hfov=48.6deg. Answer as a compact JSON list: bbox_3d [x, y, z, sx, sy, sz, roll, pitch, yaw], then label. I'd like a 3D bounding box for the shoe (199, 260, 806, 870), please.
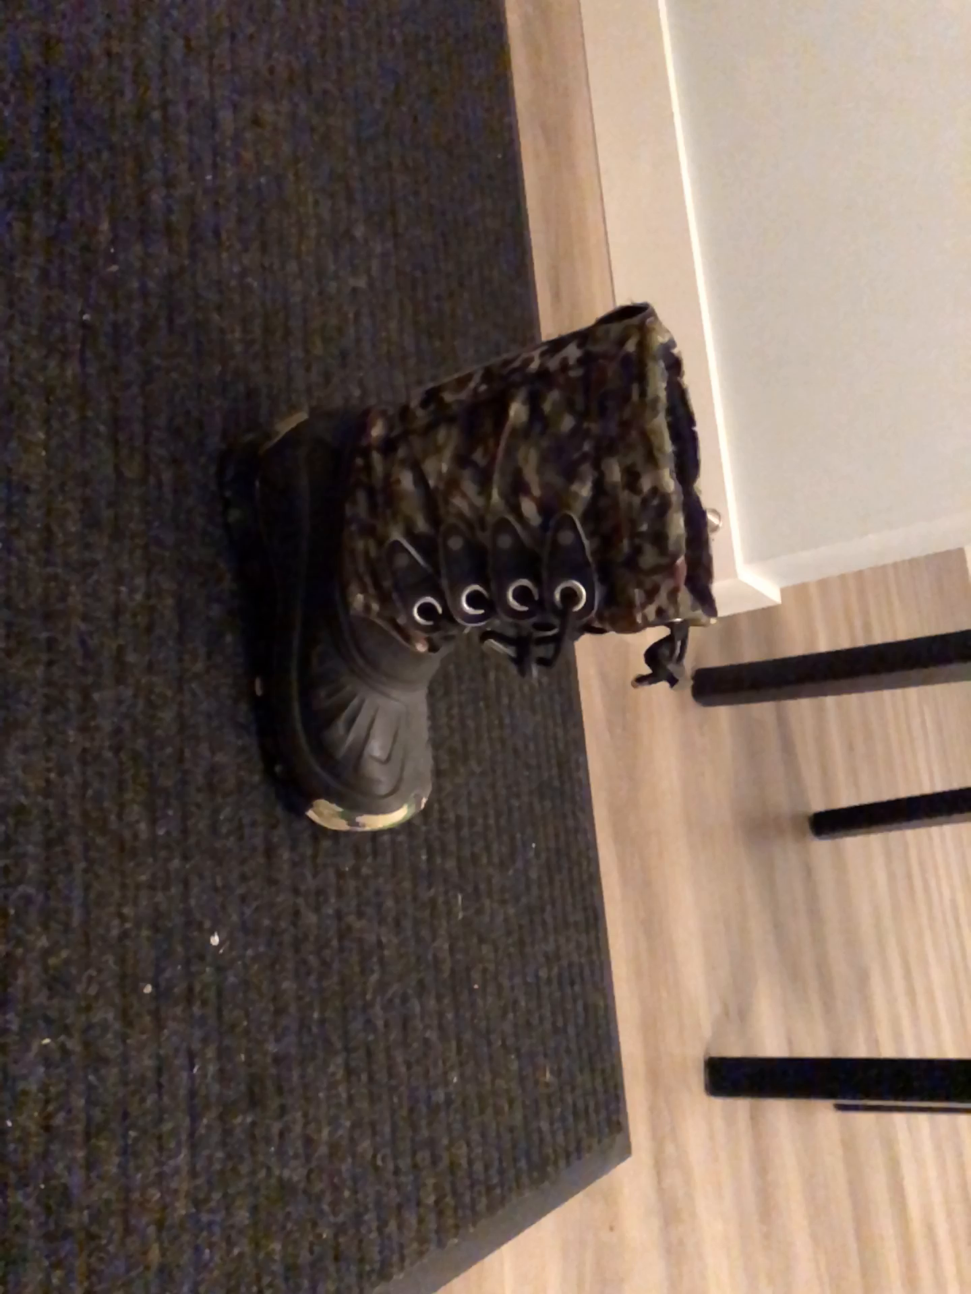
[{"bbox_3d":[0.005,-0.023,0.475,0.101,0.209,0.200,-7,85,-63],"label":"shoe"}]
